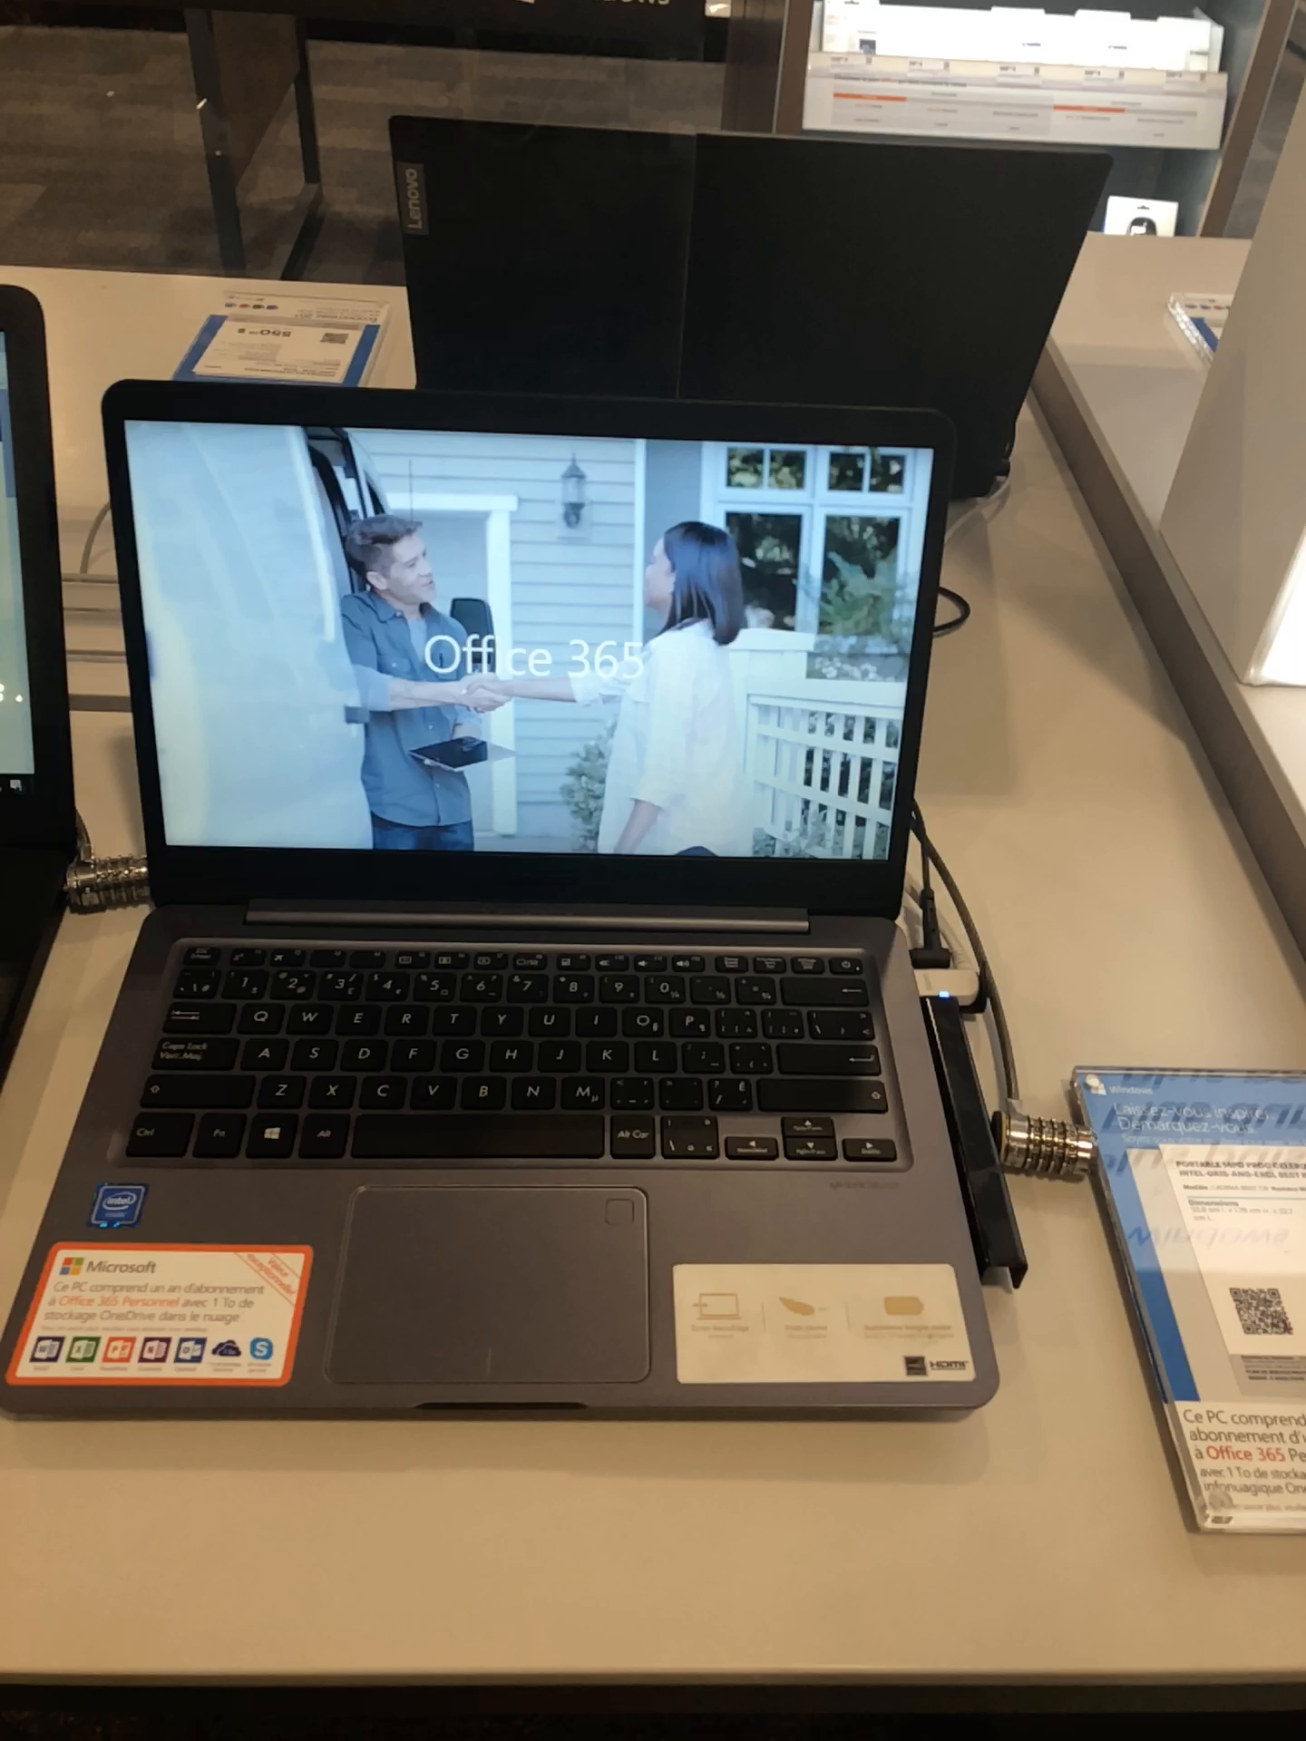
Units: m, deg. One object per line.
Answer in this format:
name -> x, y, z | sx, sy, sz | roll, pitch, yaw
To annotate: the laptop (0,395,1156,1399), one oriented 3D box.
laptop -> -0.046, -0.004, 0.501 | 0.316, 0.196, 0.292 | 1, 43, -3
